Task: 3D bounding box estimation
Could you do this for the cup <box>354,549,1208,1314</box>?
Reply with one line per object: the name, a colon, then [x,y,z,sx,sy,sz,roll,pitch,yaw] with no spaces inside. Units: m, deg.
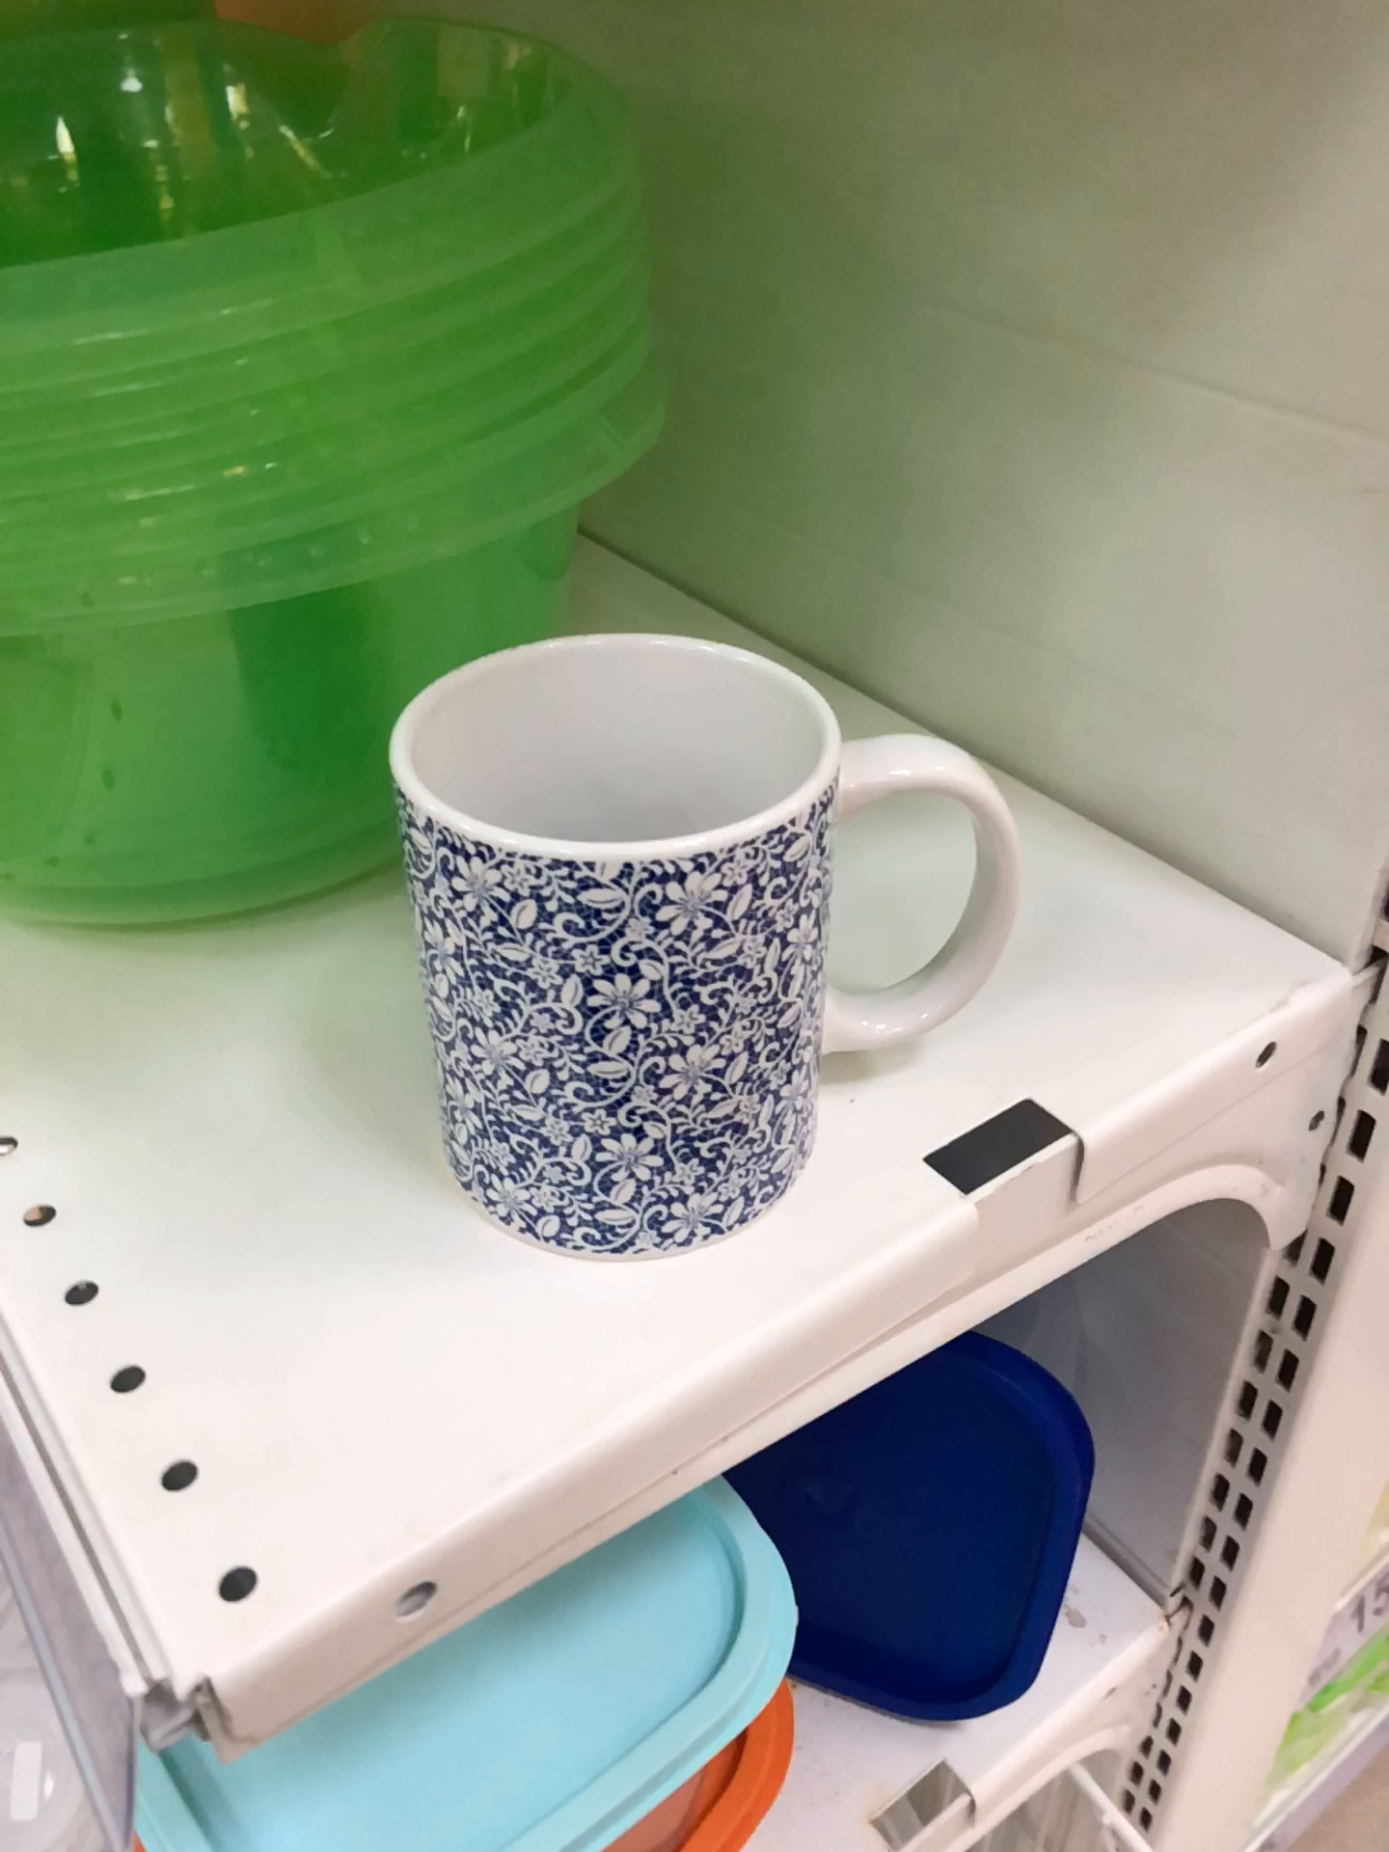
cup: [0.010,-0.004,0.313,0.137,0.098,0.098,-9,37,-9]
